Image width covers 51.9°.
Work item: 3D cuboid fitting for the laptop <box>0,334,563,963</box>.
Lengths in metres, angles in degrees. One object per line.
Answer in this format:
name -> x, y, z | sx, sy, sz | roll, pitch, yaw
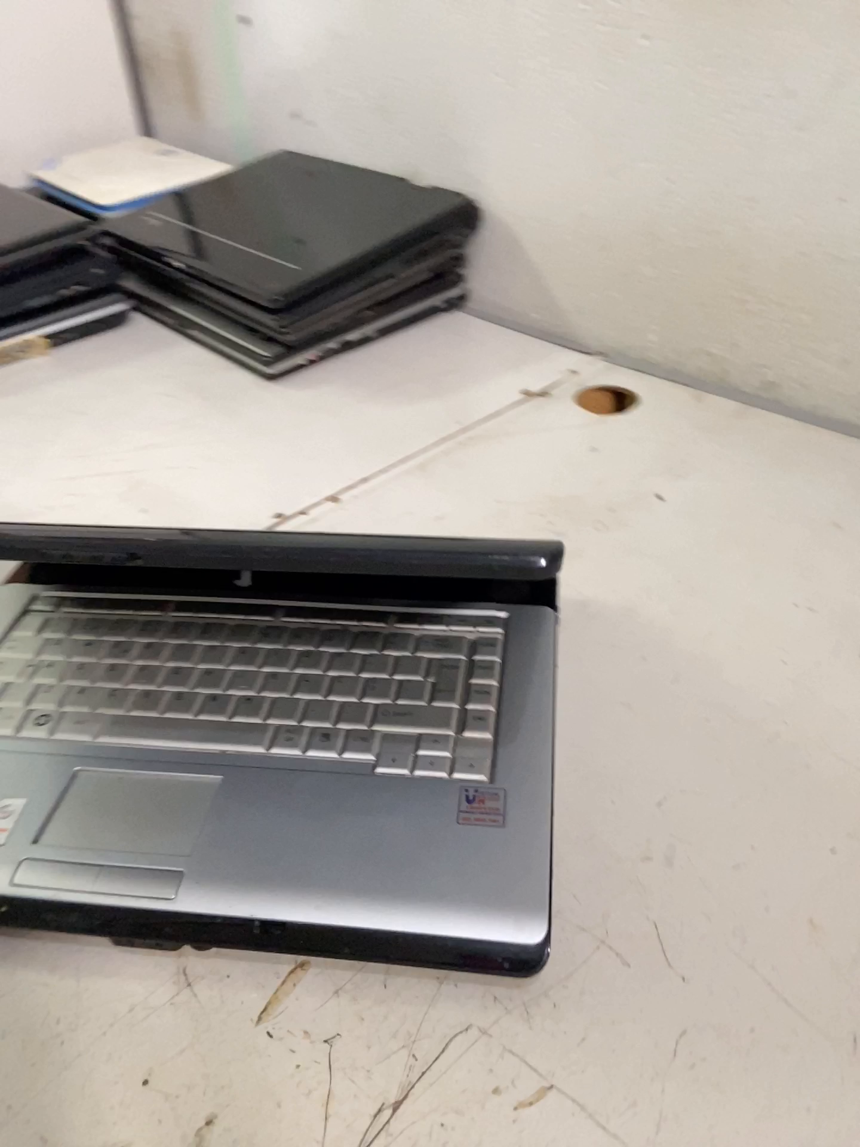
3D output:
laptop -> -0.117, 0.008, 0.423 | 0.346, 0.152, 0.259 | 2, 37, 8
